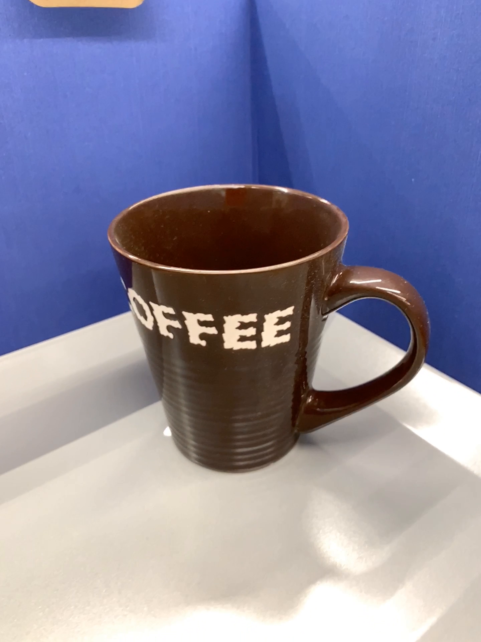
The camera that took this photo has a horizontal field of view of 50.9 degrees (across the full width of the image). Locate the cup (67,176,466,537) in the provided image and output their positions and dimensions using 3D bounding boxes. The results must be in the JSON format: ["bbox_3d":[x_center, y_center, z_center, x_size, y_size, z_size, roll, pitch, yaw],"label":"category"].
[{"bbox_3d":[0.017,0.004,0.214,0.128,0.098,0.089,9,33,19],"label":"cup"}]
